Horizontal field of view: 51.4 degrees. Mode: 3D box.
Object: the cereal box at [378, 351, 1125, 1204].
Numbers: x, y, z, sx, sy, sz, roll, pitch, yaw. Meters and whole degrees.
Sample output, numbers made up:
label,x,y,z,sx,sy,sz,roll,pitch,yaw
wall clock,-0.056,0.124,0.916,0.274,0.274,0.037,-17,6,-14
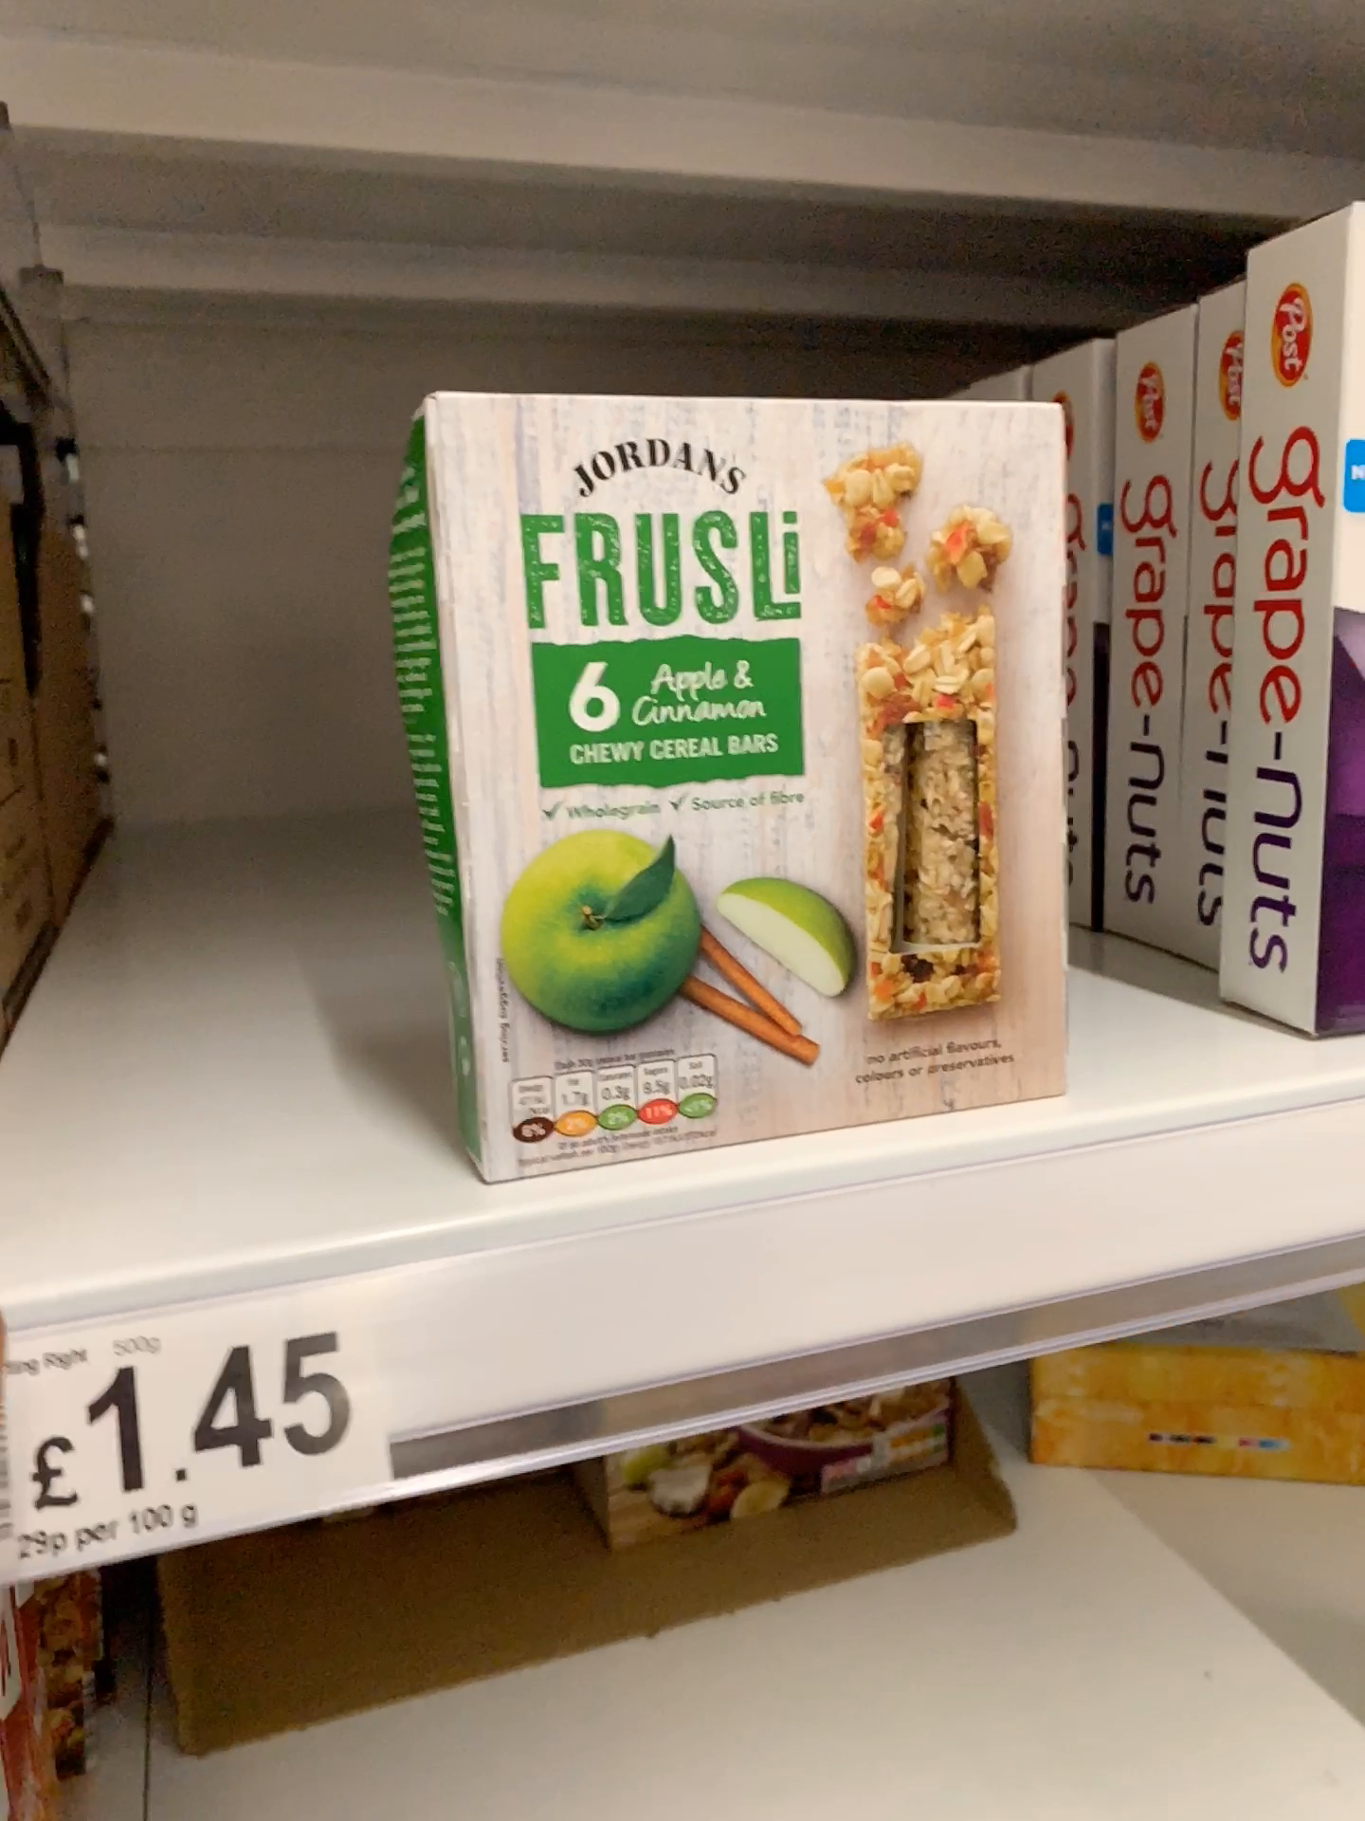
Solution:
label,x,y,z,sx,sy,sz,roll,pitch,yaw
cereal box,0.017,-0.032,0.313,0.150,0.159,0.050,-5,11,-19
